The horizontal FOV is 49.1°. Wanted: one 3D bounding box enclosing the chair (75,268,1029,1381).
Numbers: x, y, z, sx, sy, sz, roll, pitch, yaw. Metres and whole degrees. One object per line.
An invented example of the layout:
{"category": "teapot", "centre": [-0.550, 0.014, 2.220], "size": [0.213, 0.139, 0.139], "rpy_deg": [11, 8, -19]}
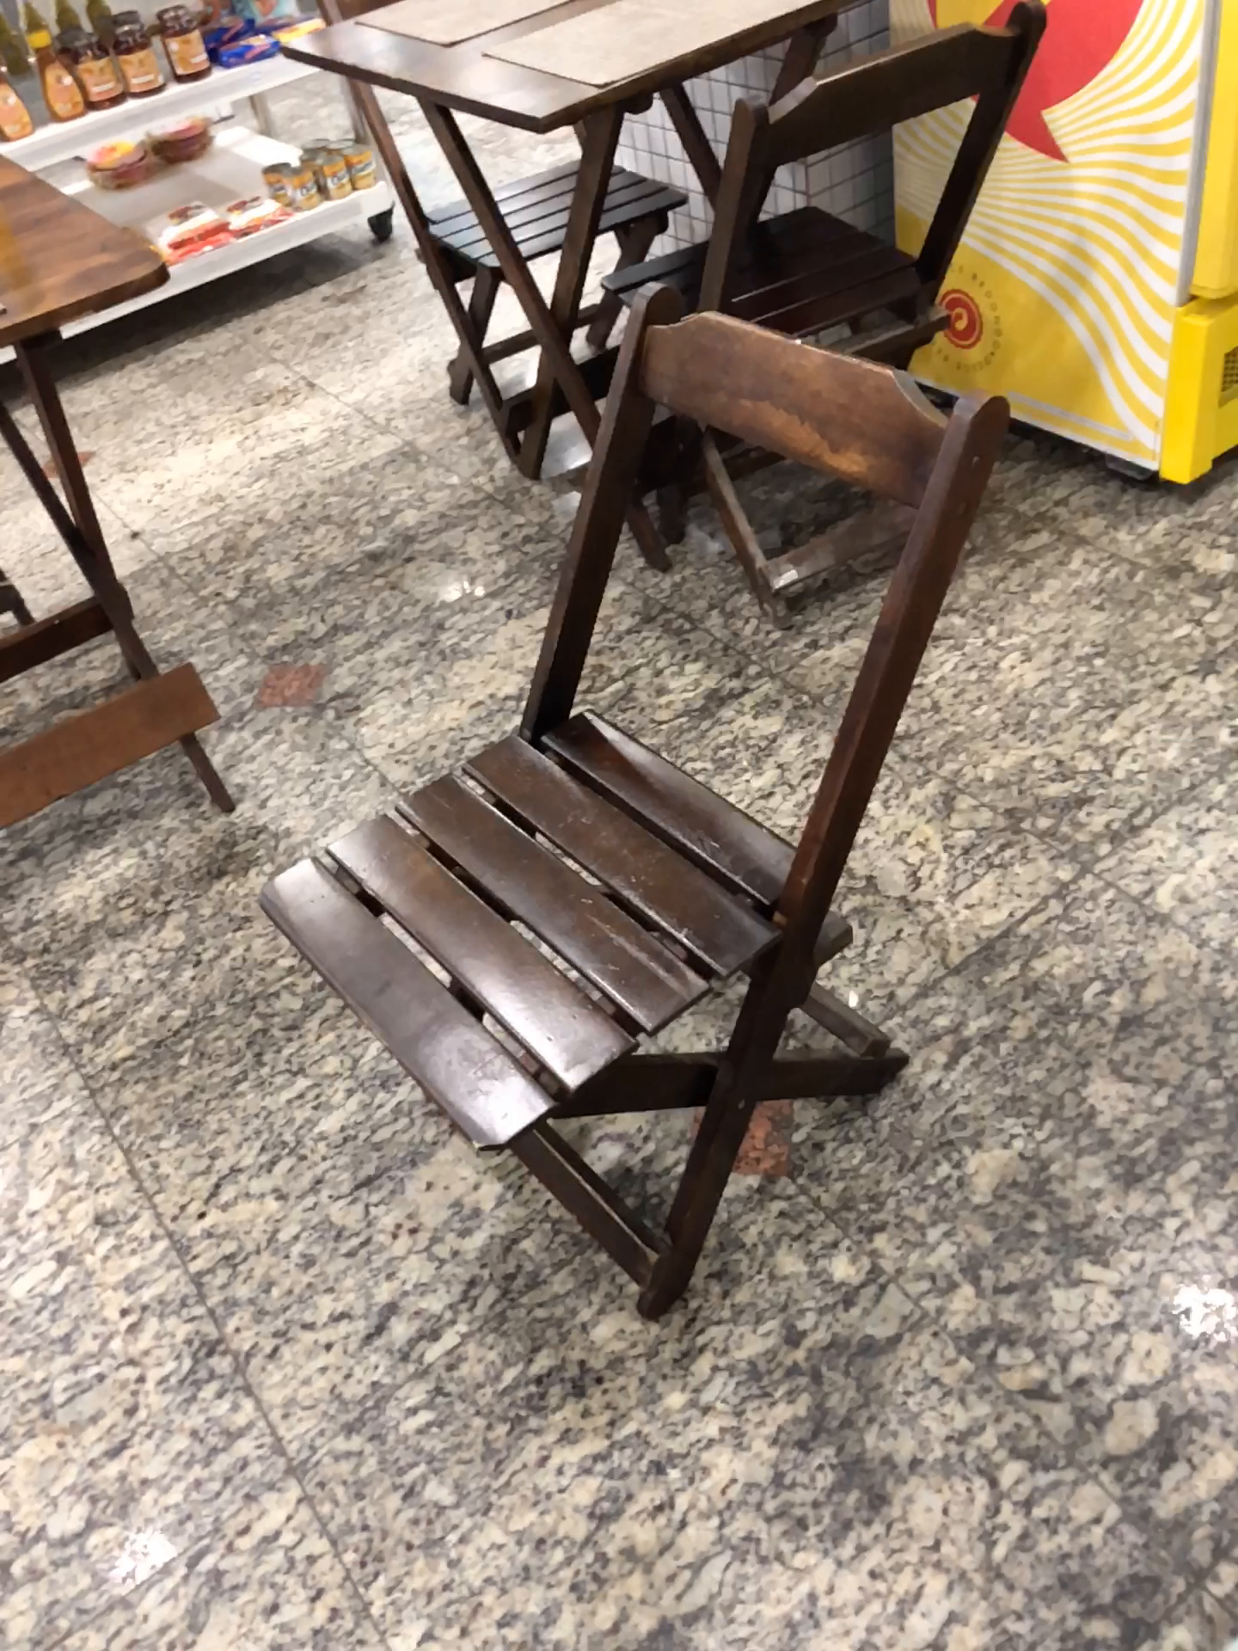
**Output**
{"category": "chair", "centre": [-0.003, -0.005, 1.218], "size": [0.551, 0.705, 0.442], "rpy_deg": [-34, 46, -22]}
